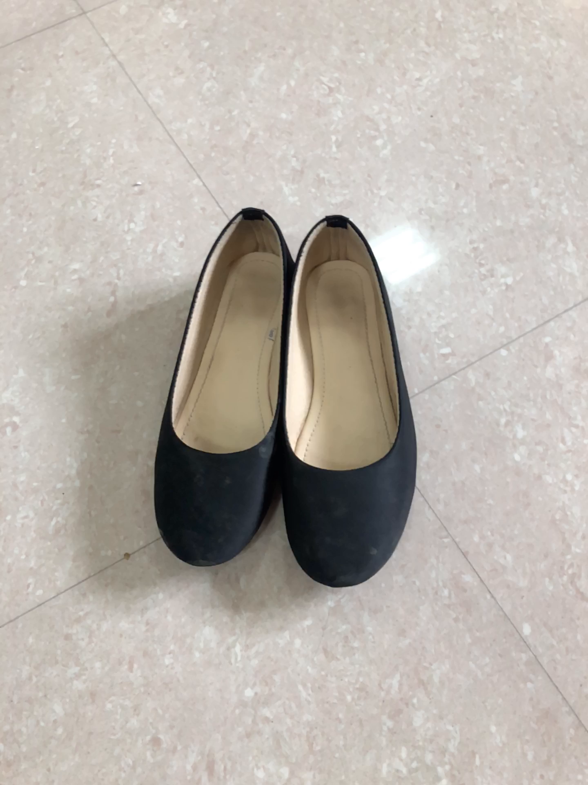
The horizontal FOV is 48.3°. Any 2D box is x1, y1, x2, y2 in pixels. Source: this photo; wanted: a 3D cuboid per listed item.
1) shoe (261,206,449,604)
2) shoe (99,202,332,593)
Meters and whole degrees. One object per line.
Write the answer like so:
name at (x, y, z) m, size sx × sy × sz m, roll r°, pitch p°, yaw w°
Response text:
shoe at (0.038, 0.001, 0.412) m, size 0.092 × 0.075 × 0.239 m, roll 0°, pitch 62°, yaw 6°
shoe at (-0.036, -0.005, 0.425) m, size 0.092 × 0.075 × 0.239 m, roll 5°, pitch 63°, yaw 9°
